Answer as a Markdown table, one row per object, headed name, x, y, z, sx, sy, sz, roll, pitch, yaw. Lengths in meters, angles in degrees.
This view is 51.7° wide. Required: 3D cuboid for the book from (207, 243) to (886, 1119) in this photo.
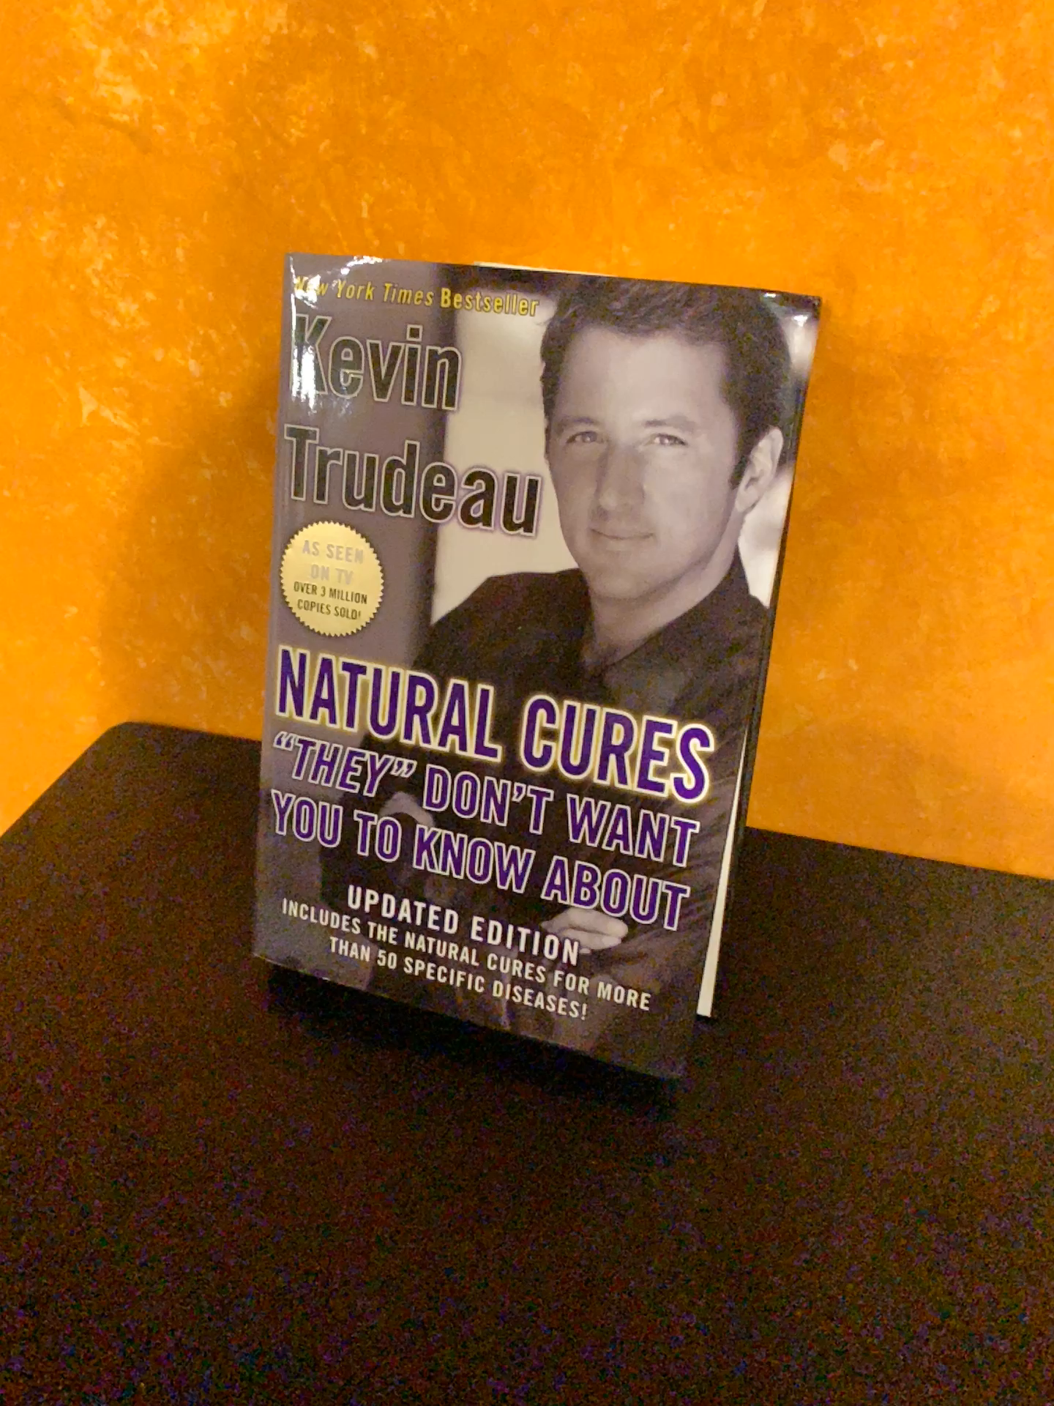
| name | x | y | z | sx | sy | sz | roll | pitch | yaw |
| --- | --- | --- | --- | --- | --- | --- | --- | --- | --- |
| book | -0.004 | -0.011 | 0.338 | 0.180 | 0.229 | 0.050 | 11 | 15 | 17 |
